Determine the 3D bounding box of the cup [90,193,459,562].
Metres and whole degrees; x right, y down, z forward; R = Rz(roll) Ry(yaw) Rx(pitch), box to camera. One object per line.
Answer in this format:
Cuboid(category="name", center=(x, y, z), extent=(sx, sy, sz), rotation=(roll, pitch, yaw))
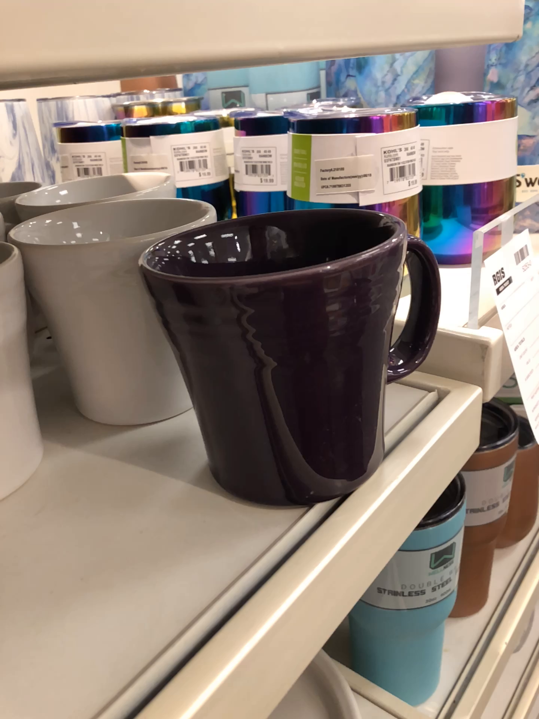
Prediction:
Cuboid(category="cup", center=(0.011, -0.007, 0.261), extent=(0.090, 0.099, 0.127), rotation=(16, 32, 35))
